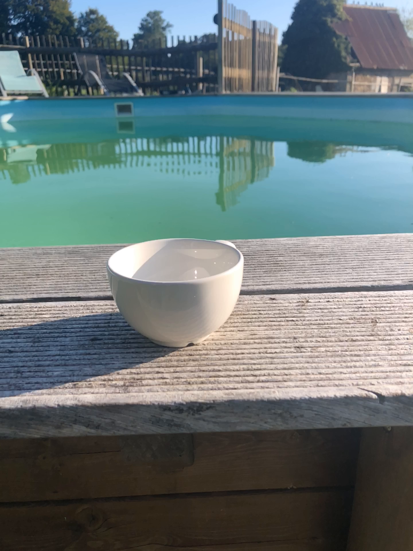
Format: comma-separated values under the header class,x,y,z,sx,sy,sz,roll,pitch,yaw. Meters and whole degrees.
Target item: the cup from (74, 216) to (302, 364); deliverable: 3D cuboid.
class,x,y,z,sx,sy,sz,roll,pitch,yaw
cup,-0.007,-0.001,0.316,0.104,0.038,0.121,13,28,30
